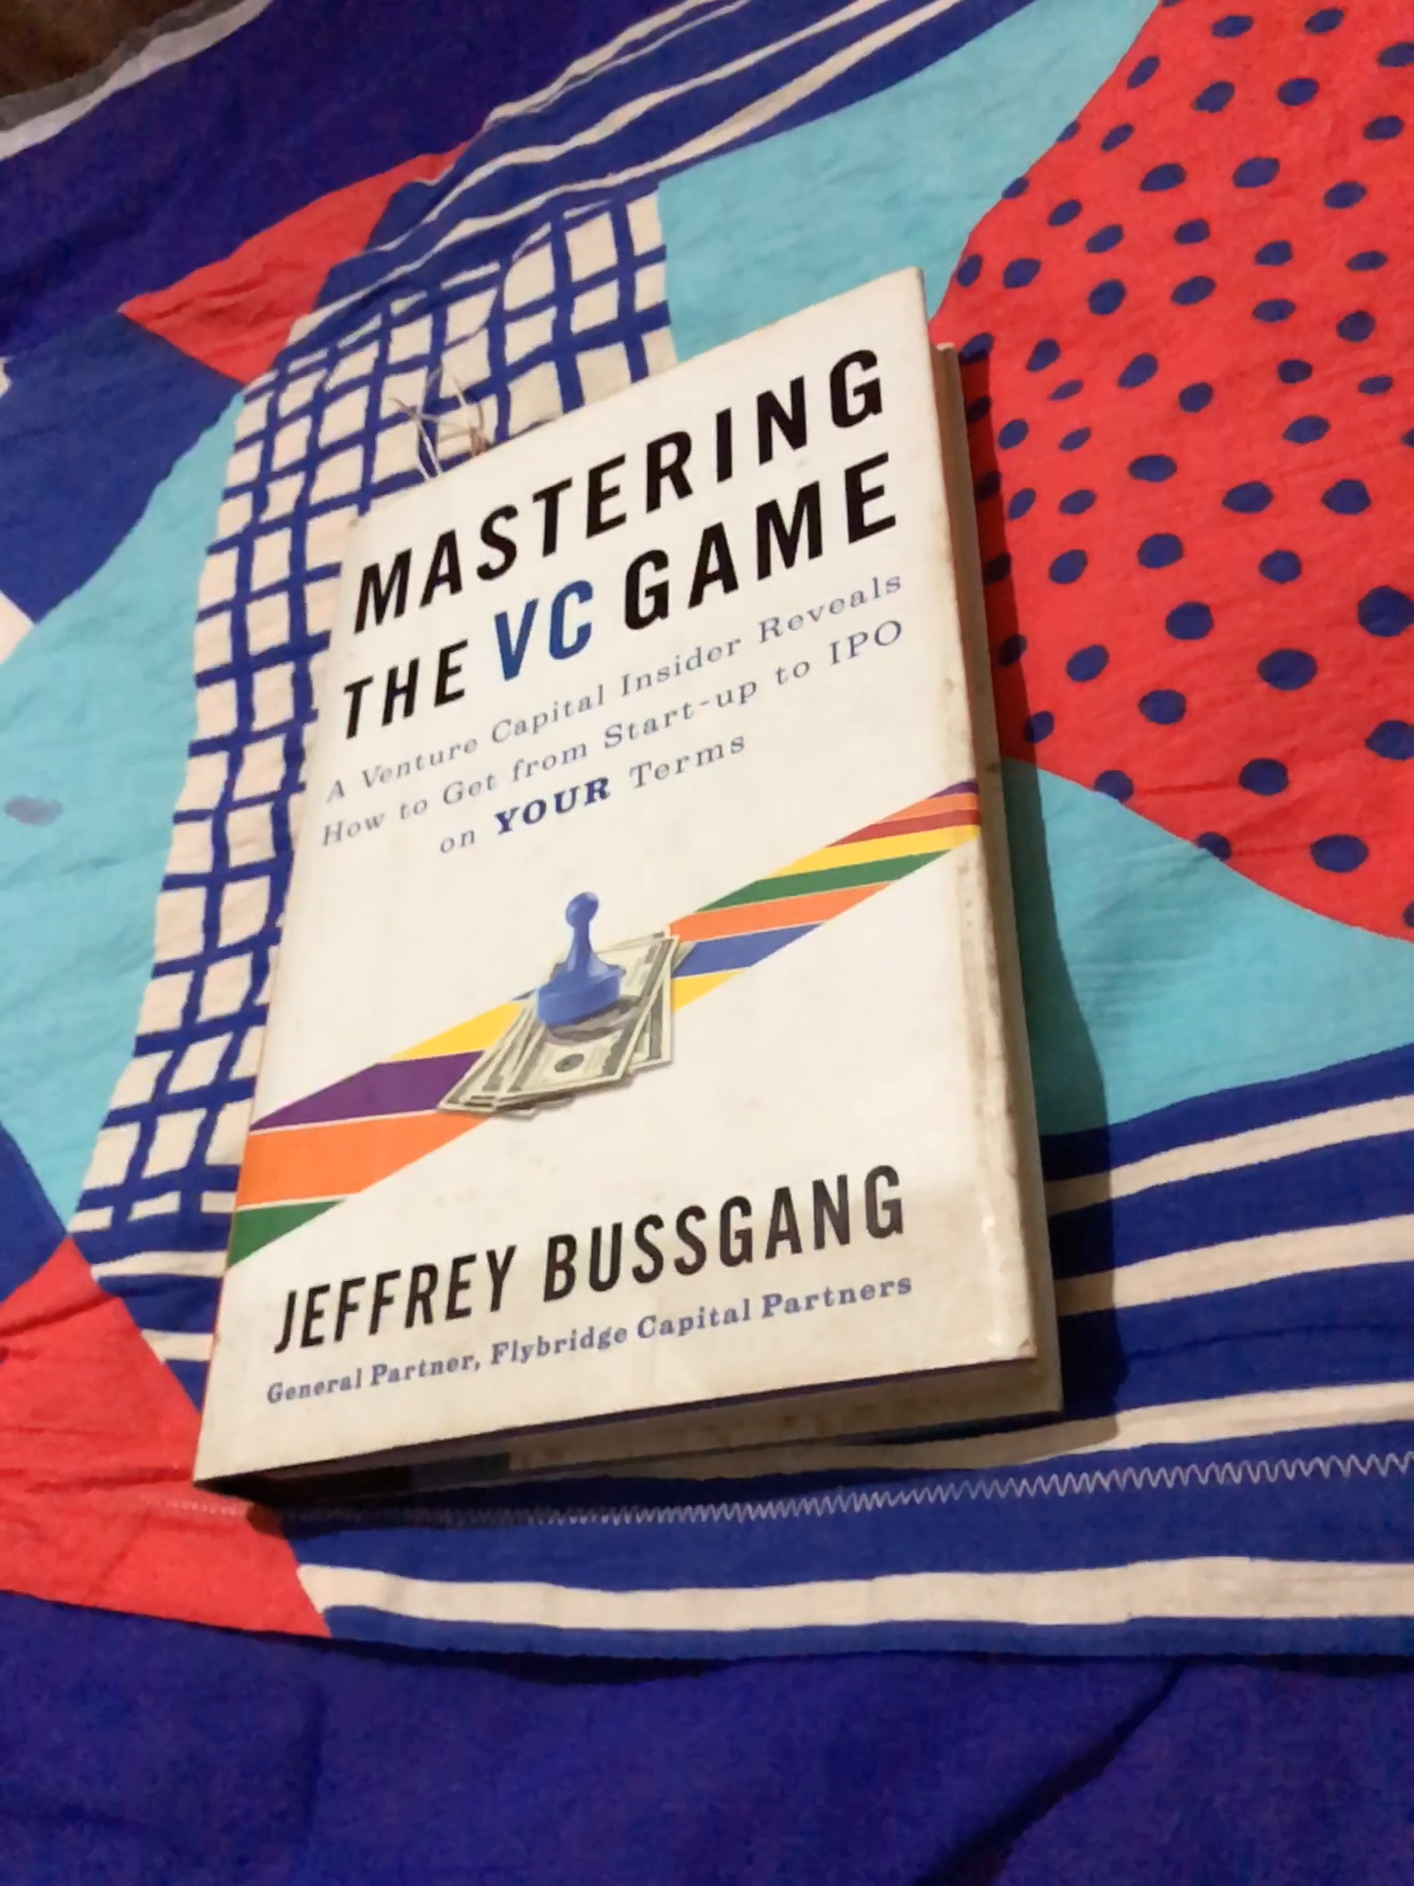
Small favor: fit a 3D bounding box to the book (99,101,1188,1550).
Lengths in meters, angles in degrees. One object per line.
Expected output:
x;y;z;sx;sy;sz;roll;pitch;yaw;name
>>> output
-0.017;-0.031;0.333;0.181;0.050;0.280;-16;56;25;book
